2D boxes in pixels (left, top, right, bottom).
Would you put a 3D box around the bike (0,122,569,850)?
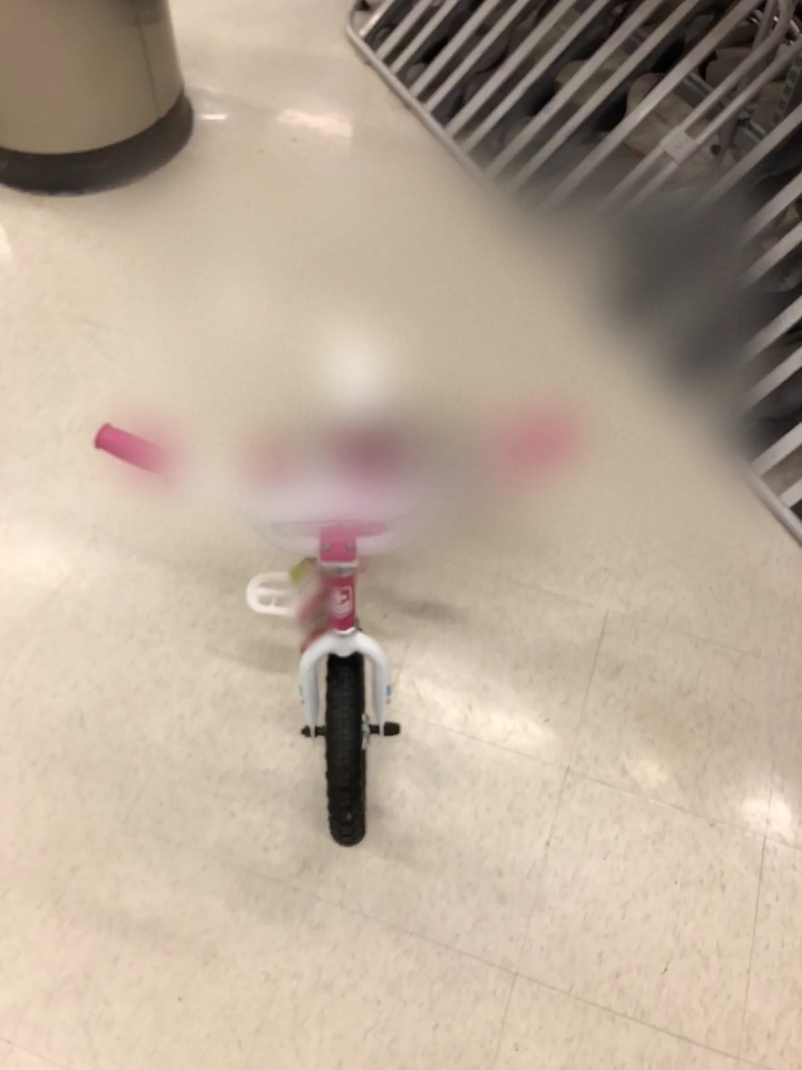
[{"bbox_3d":[-0.084,-0.064,1.220,0.461,0.625,0.818,3,53,0],"label":"bike"}]
